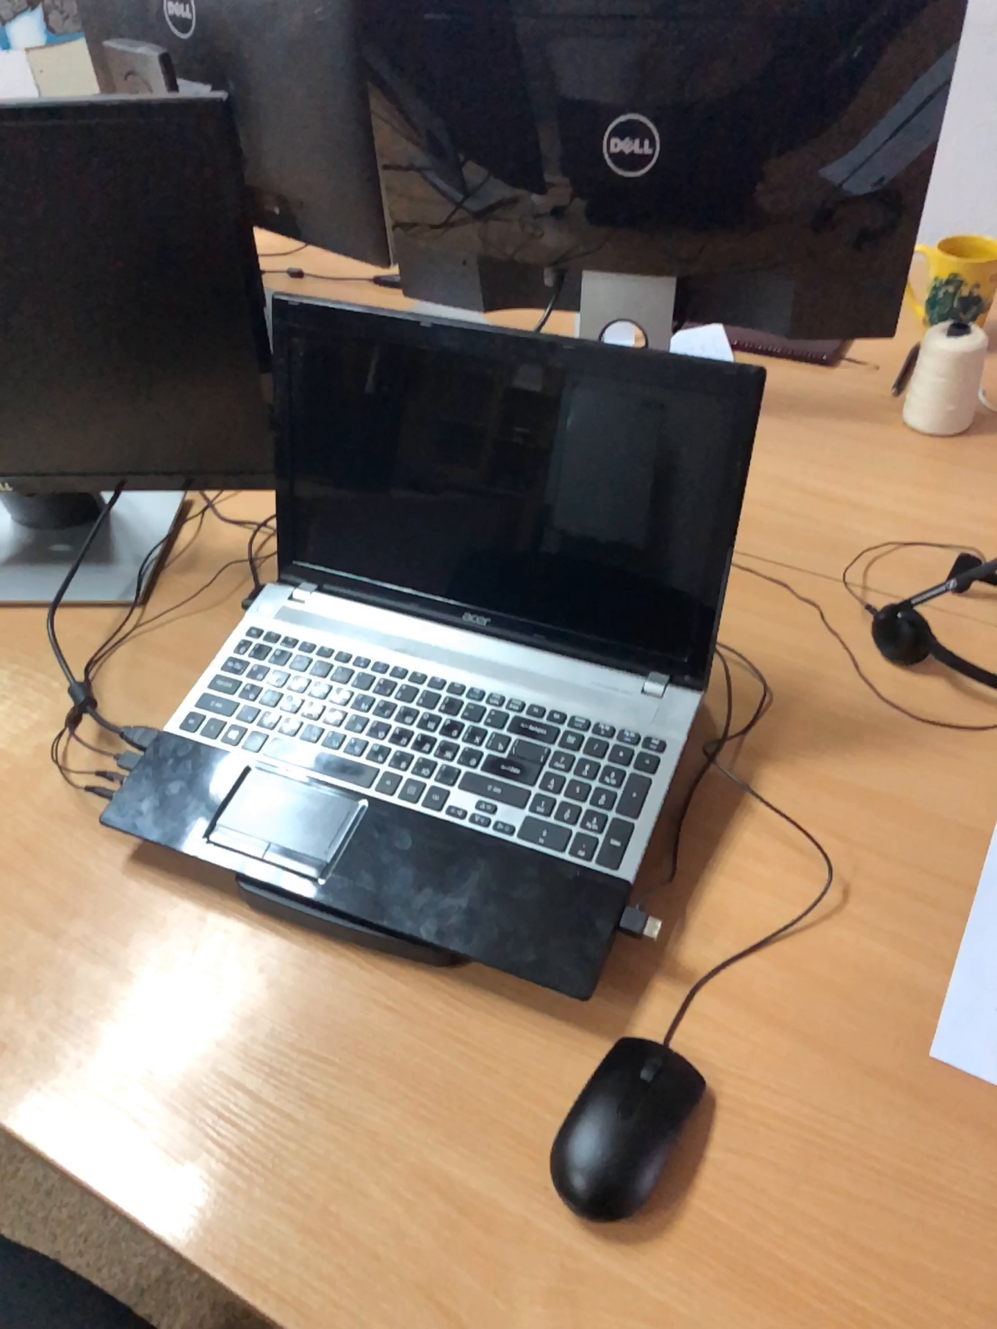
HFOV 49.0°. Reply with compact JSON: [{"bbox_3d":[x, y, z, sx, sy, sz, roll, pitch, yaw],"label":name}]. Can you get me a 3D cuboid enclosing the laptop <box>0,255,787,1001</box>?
[{"bbox_3d":[-0.049,-0.054,0.740,0.370,0.215,0.353,15,52,20],"label":"laptop"}]
